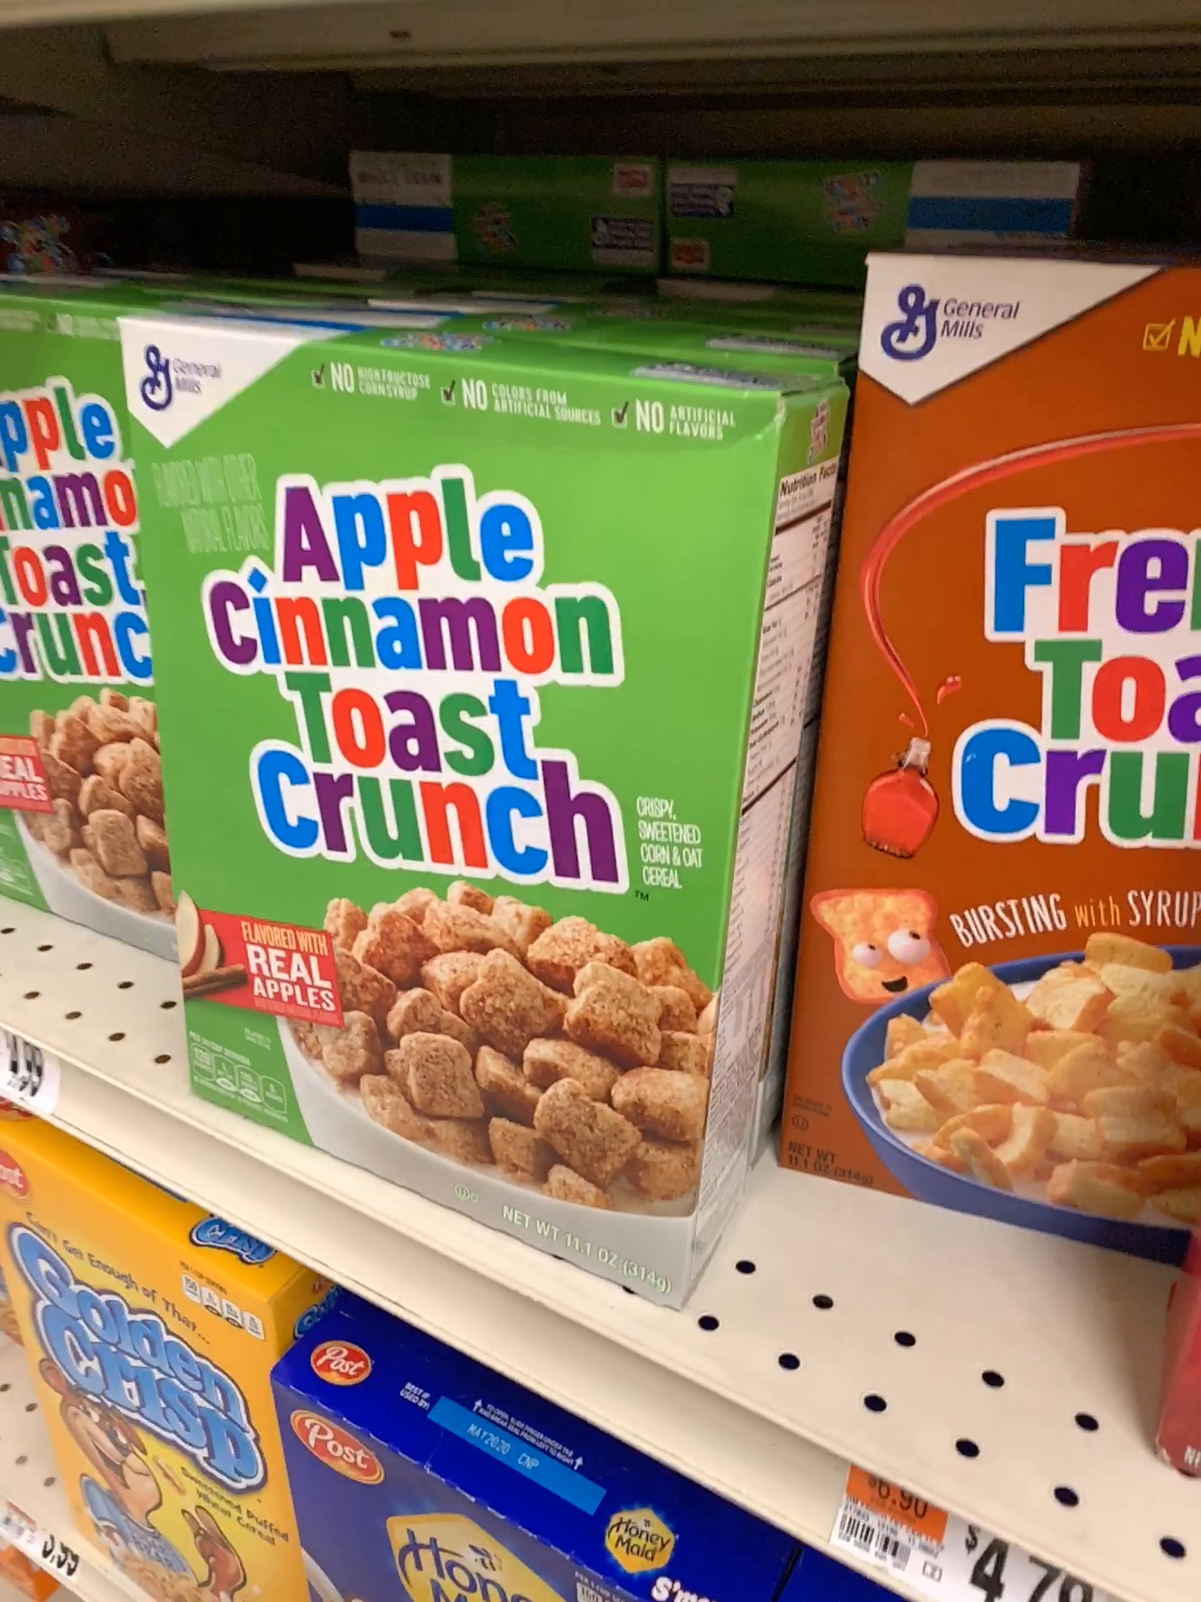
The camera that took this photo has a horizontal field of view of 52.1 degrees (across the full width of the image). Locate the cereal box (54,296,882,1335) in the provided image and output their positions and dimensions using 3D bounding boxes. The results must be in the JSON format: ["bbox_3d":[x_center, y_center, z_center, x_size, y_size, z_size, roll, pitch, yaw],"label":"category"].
[{"bbox_3d":[-0.045,0.002,0.372,0.210,0.269,0.060,15,29,23],"label":"cereal box"}]
